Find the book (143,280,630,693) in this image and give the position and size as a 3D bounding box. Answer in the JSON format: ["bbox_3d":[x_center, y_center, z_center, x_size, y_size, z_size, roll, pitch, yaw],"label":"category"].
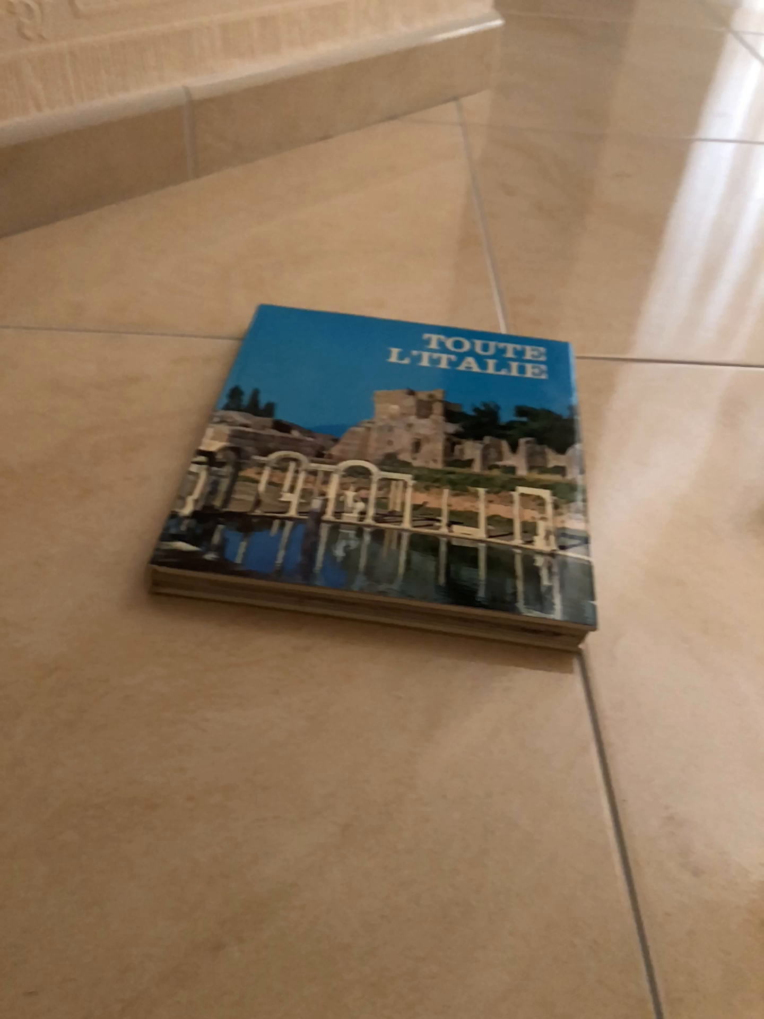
[{"bbox_3d":[0.015,-0.037,0.535,0.240,0.050,0.292,7,44,2],"label":"book"}]
